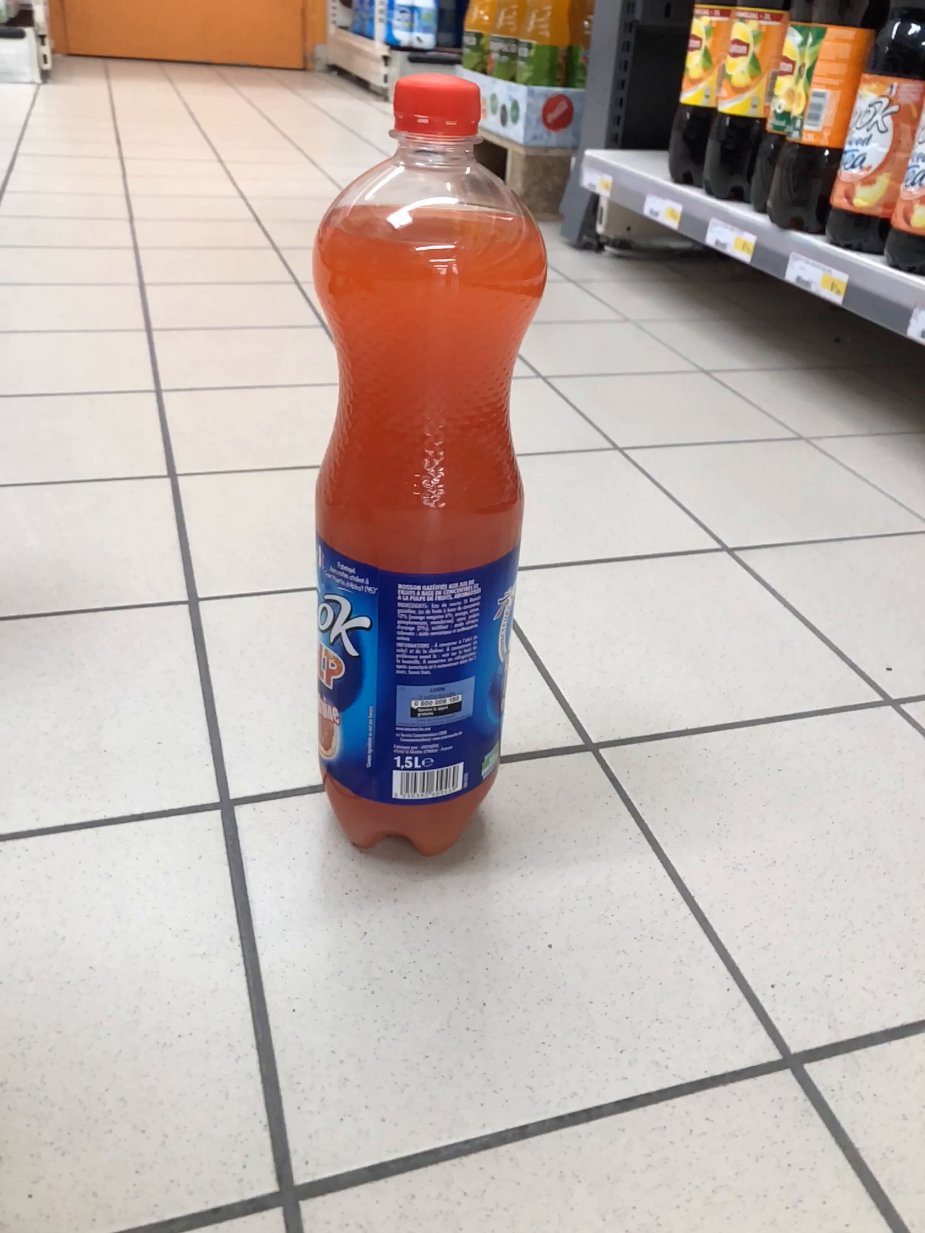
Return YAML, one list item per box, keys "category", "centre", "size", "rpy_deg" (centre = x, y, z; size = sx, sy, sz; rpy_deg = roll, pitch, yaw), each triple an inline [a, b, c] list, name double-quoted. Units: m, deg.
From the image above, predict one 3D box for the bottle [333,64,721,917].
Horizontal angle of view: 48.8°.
- category: "bottle"
  centre: [0.004, -0.037, 0.404]
  size: [0.100, 0.308, 0.111]
  rpy_deg: [-2, 31, -11]
